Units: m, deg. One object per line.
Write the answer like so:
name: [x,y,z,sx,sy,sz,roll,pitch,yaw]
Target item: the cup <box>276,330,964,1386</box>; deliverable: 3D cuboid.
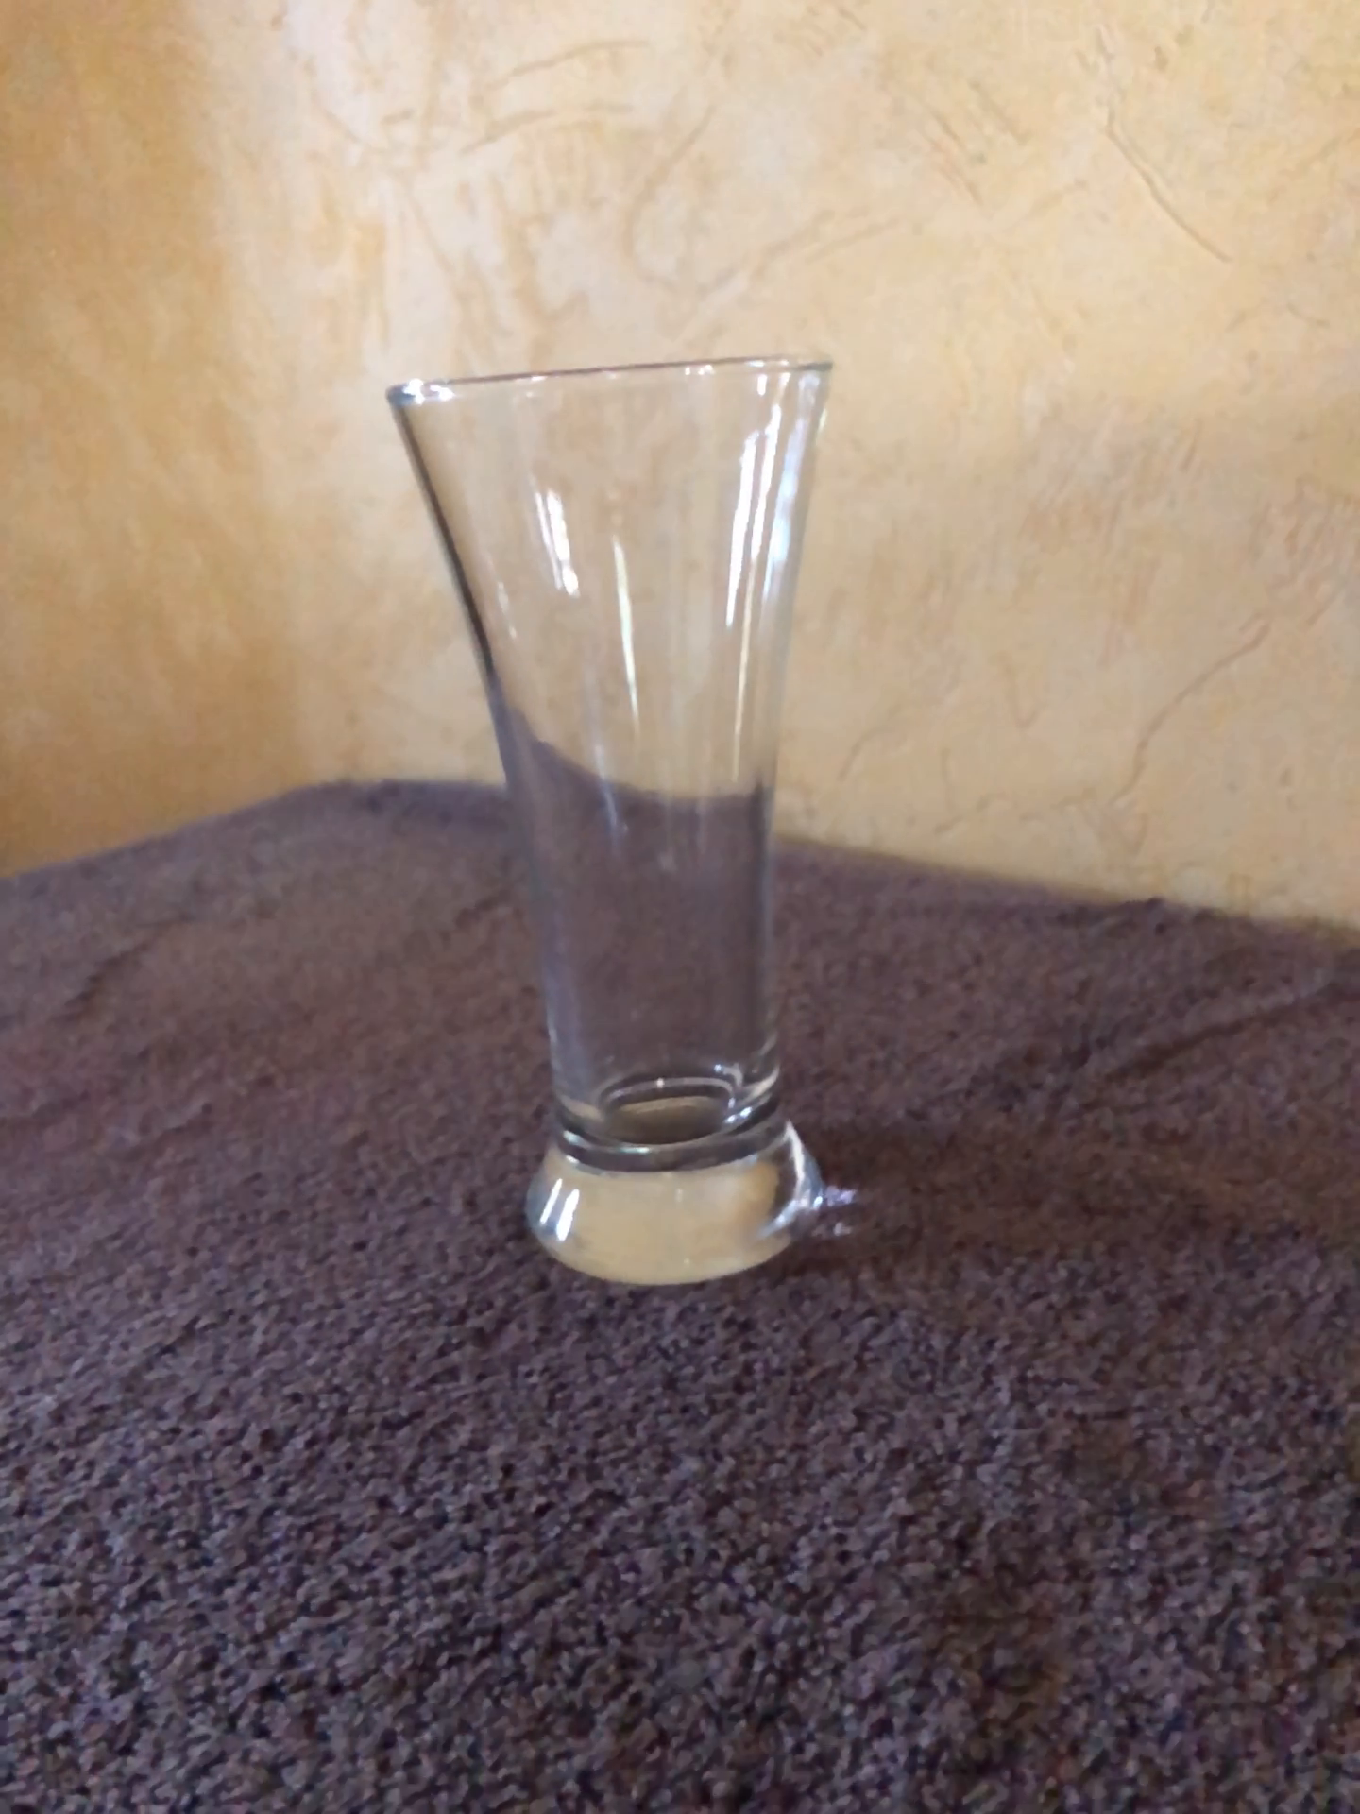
cup: [0.001,-0.012,0.254,0.080,0.149,0.080,-4,18,1]
